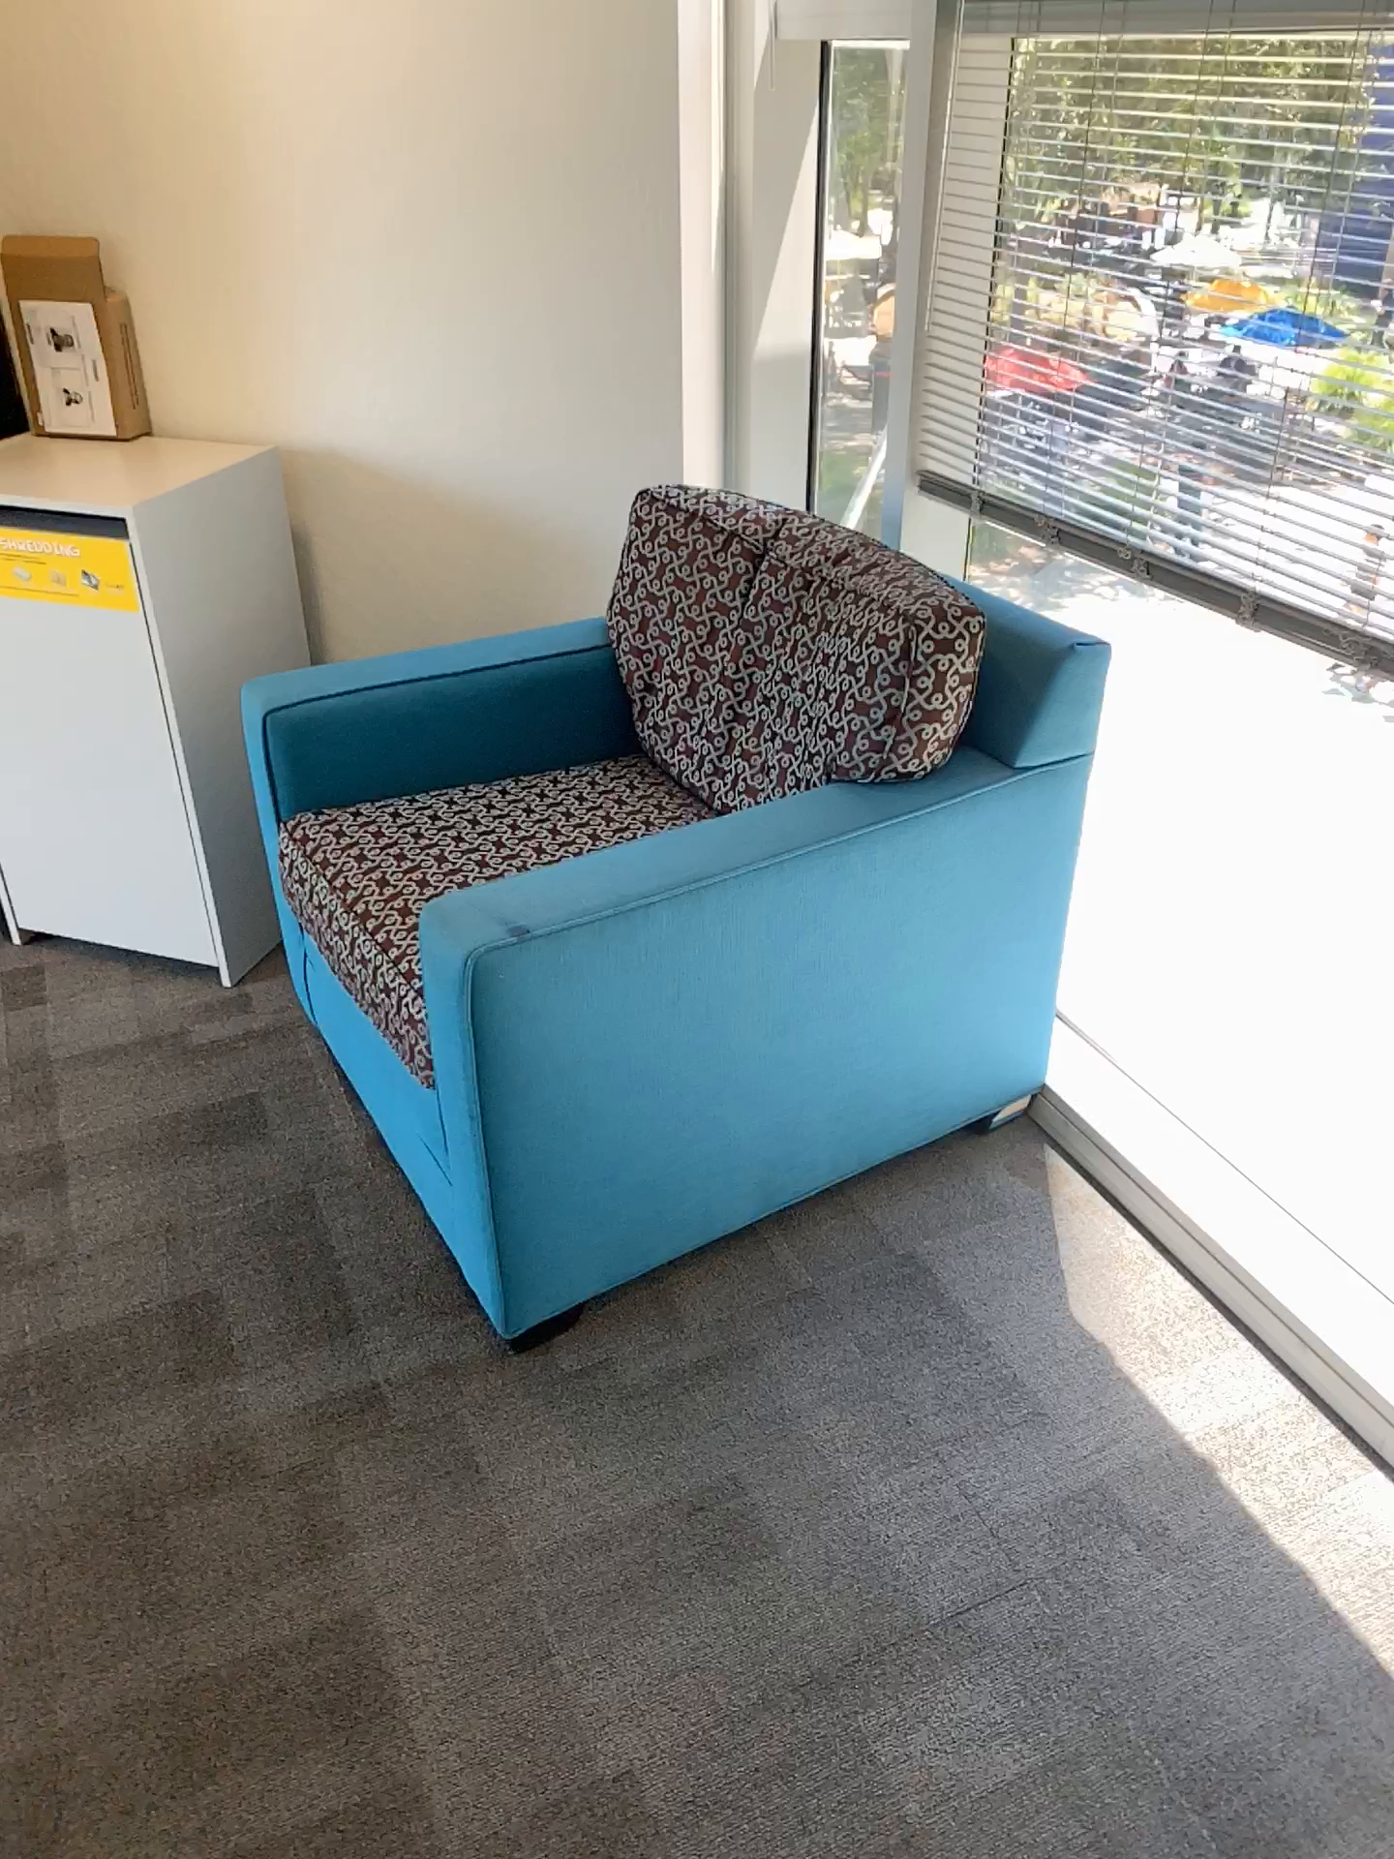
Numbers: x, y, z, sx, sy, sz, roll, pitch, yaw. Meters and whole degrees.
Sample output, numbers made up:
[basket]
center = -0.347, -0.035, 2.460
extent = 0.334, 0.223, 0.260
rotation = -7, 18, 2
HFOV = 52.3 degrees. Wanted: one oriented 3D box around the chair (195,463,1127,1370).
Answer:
[chair]
center = -0.095, -0.126, 2.108
extent = 0.910, 0.805, 0.935
rotation = -17, 35, -25
